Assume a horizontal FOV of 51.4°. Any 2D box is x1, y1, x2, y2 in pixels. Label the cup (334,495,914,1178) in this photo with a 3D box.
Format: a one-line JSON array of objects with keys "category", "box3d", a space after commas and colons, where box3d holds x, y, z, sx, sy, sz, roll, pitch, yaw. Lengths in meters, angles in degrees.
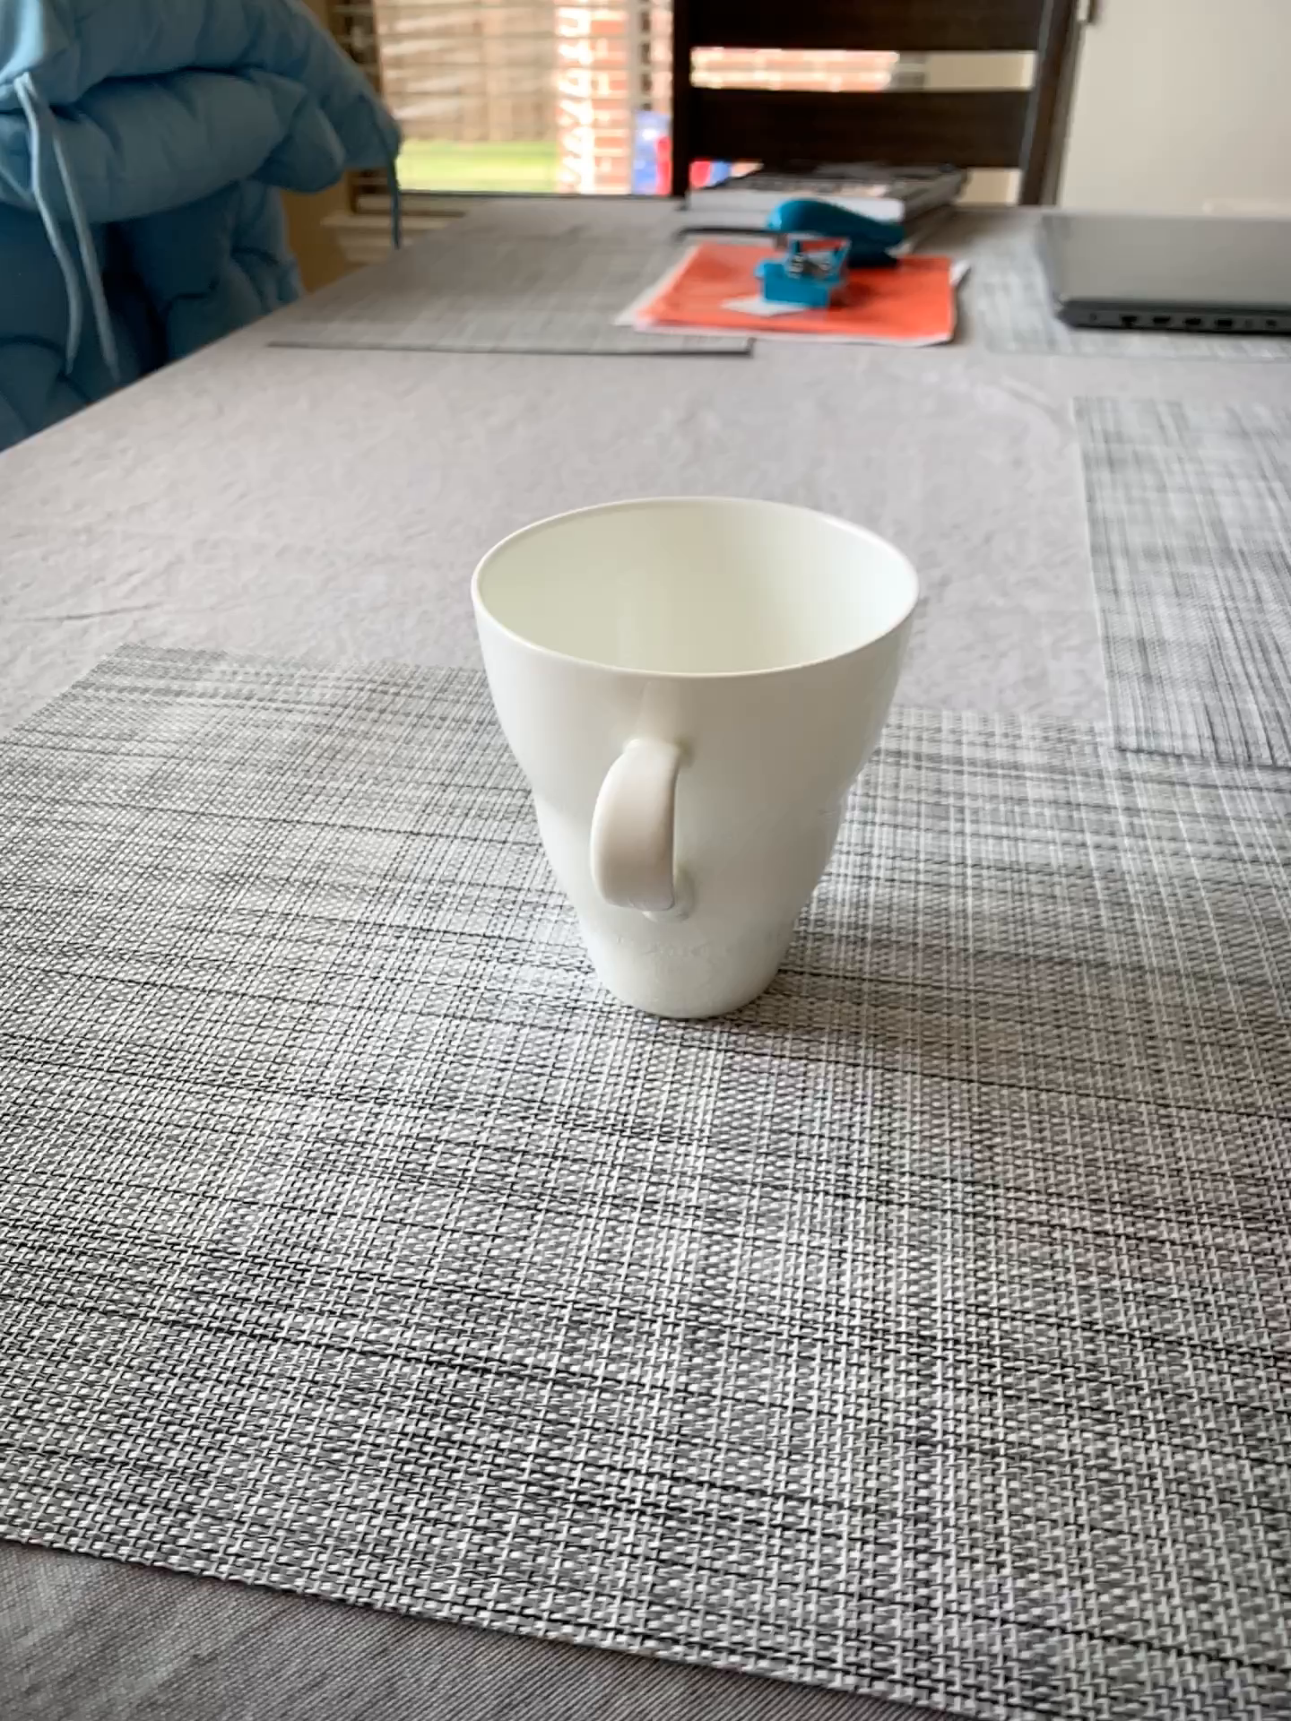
[{"category": "cup", "box3d": [0.006, -0.013, 0.304, 0.098, 0.098, 0.121, 4, 34, 10]}]
